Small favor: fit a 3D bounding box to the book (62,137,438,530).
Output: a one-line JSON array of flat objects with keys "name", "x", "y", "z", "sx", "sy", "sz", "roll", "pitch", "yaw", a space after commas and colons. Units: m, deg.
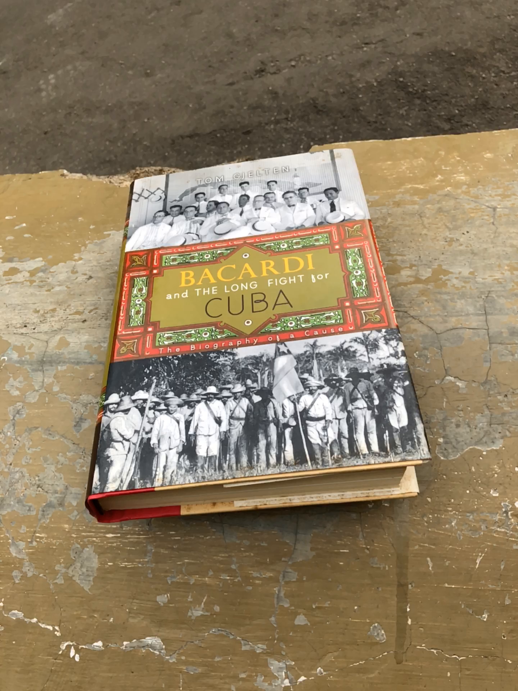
[{"name": "book", "x": -0.007, "y": -0.025, "z": 0.356, "sx": 0.170, "sy": 0.050, "sz": 0.251, "roll": -6, "pitch": 51, "yaw": 5}]
